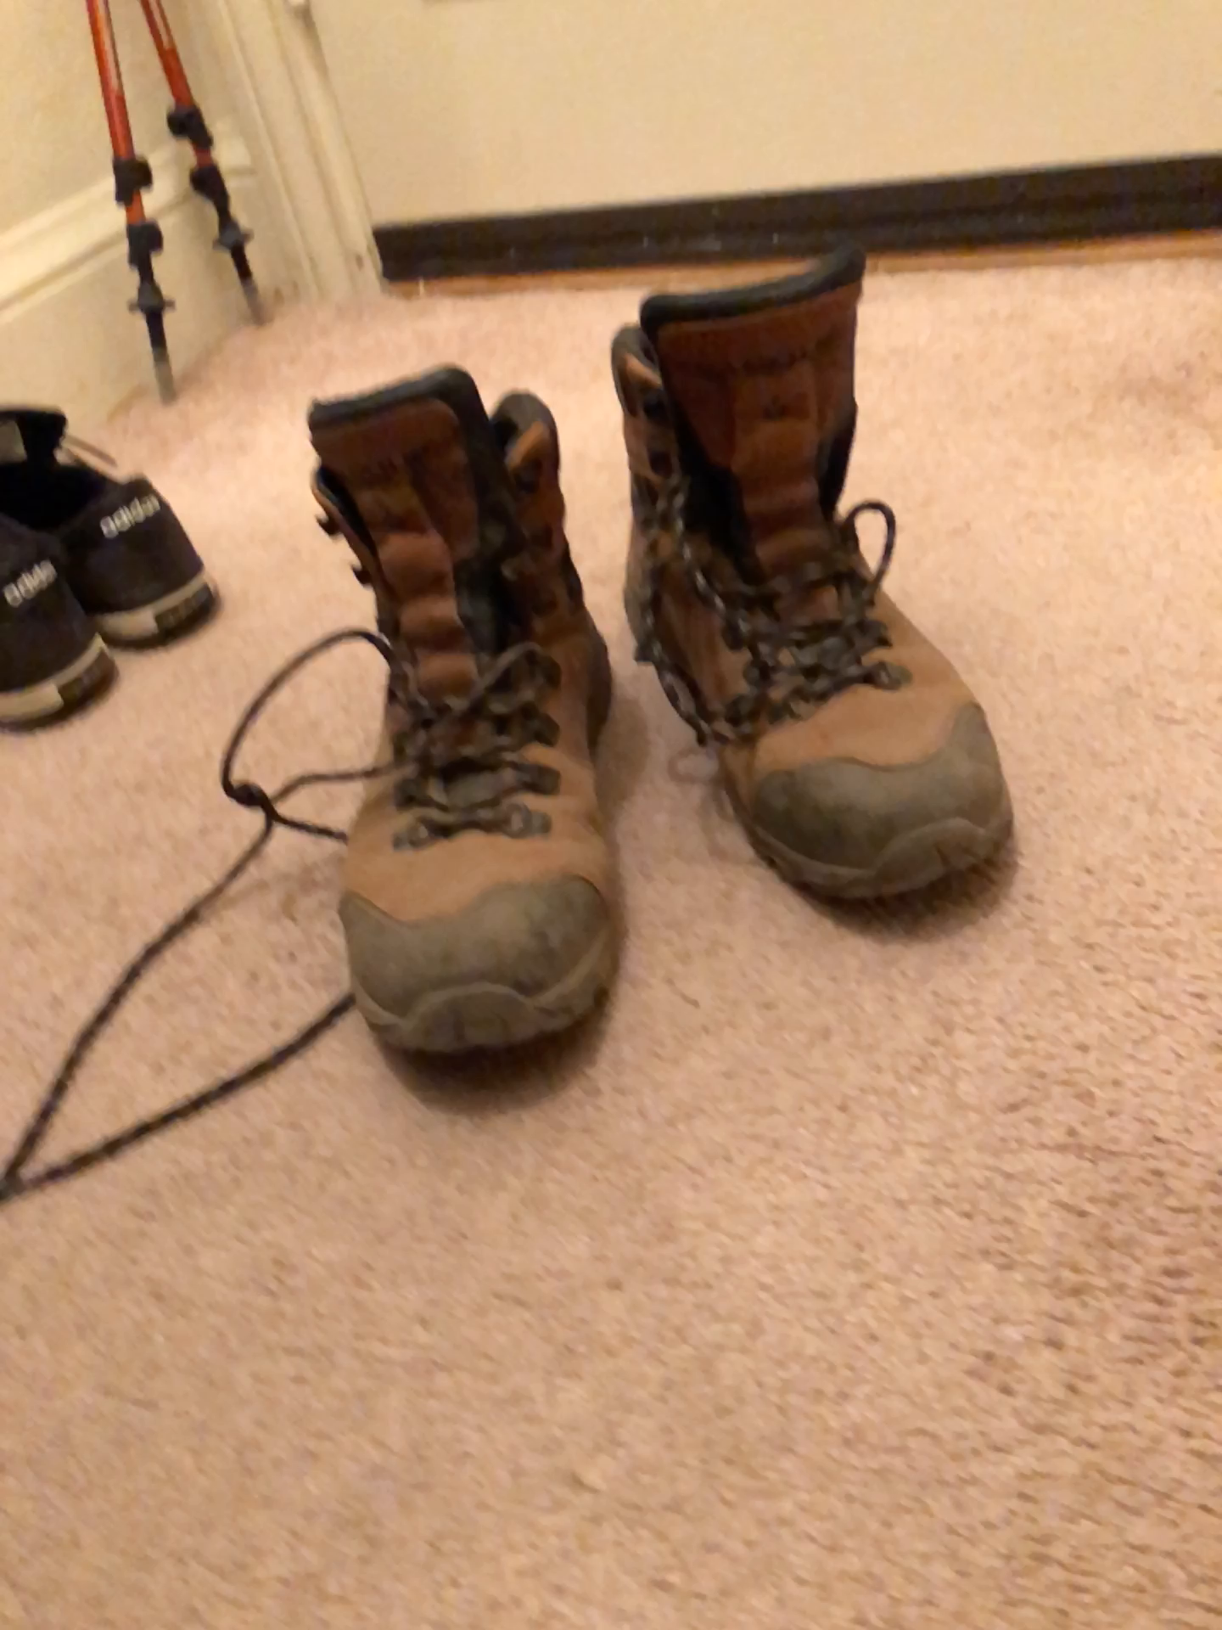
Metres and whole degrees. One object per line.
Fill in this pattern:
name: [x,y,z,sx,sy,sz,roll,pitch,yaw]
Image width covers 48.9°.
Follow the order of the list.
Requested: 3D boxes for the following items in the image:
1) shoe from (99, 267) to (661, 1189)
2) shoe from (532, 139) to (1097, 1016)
shoe: [-0.063,-0.051,0.551,0.120,0.219,0.312,-9,39,6]
shoe: [0.073,-0.118,0.575,0.120,0.229,0.312,-15,39,-2]
